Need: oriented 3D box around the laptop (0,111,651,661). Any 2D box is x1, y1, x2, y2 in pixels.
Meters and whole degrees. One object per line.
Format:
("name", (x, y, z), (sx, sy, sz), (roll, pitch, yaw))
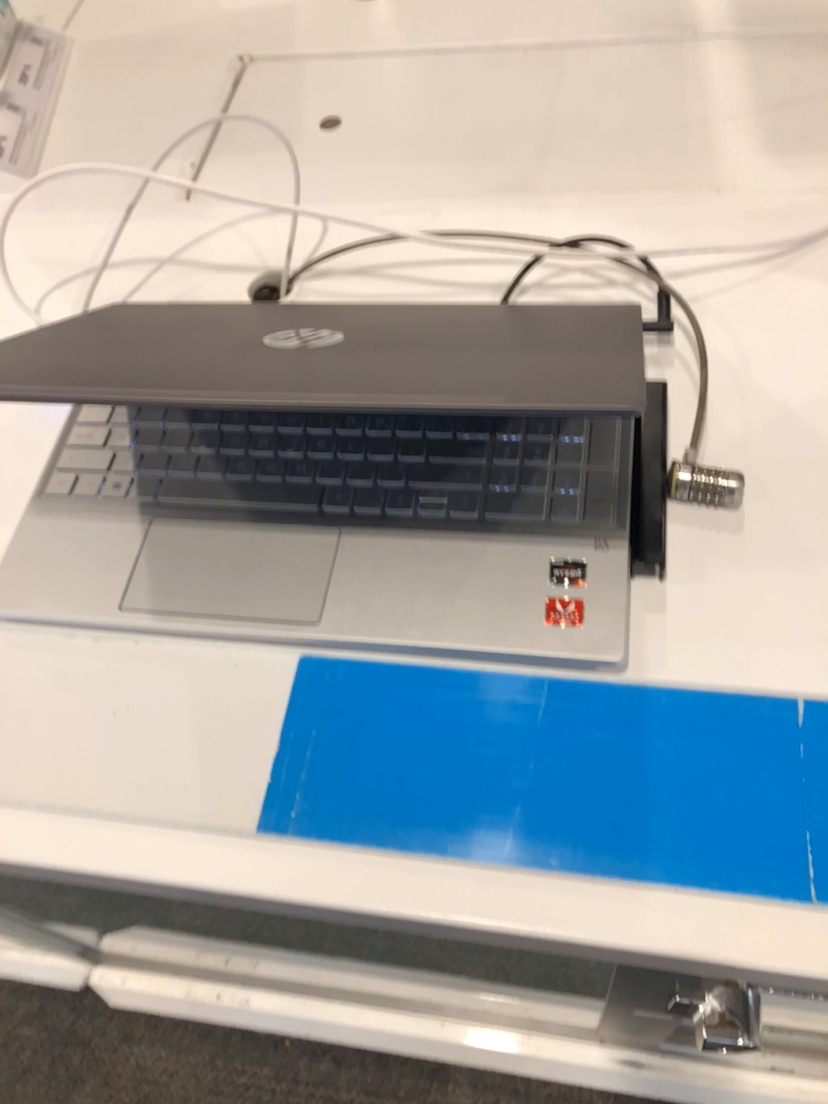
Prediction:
("laptop", (-0.065, -0.091, 0.478), (0.350, 0.134, 0.231), (4, 59, 13))
